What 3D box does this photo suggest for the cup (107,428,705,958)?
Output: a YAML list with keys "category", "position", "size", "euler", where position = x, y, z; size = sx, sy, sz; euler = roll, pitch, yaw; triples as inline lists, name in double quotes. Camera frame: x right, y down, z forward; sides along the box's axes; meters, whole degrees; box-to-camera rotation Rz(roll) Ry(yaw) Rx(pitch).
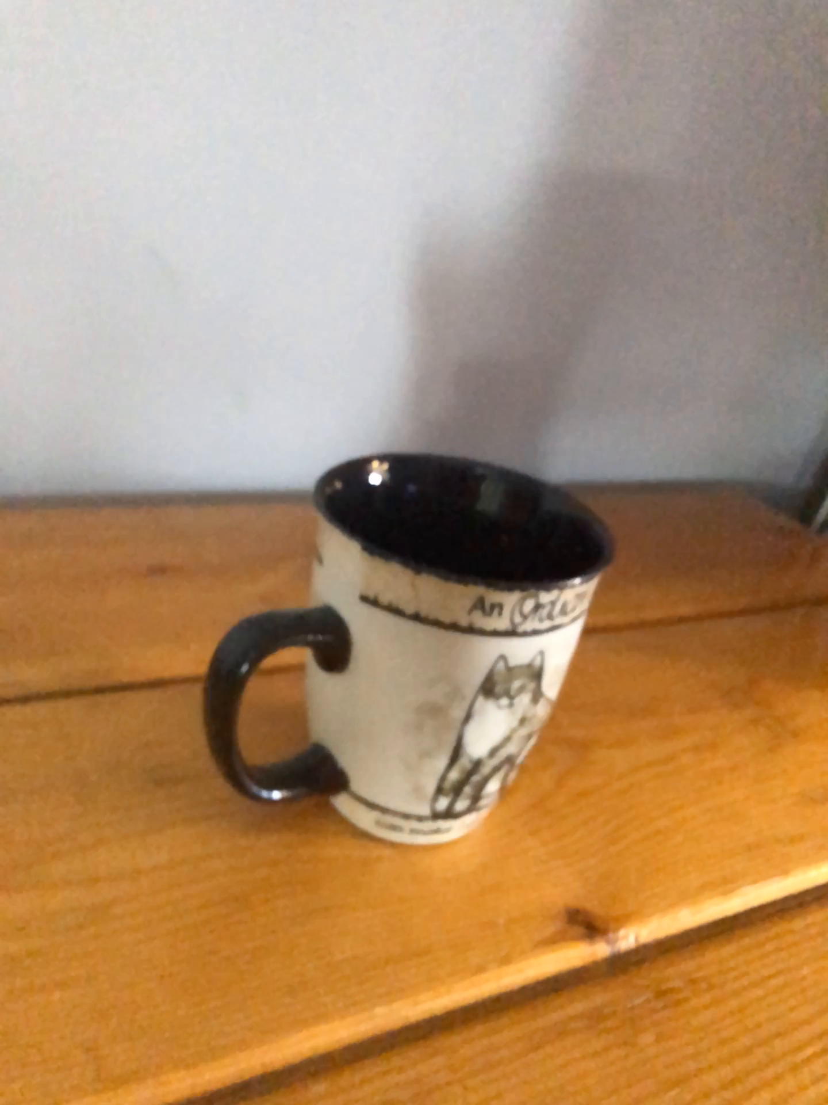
- category: "cup"
  position: [-0.008, 0.030, 0.295]
  size: [0.140, 0.100, 0.100]
  euler: [-8, 34, -35]
